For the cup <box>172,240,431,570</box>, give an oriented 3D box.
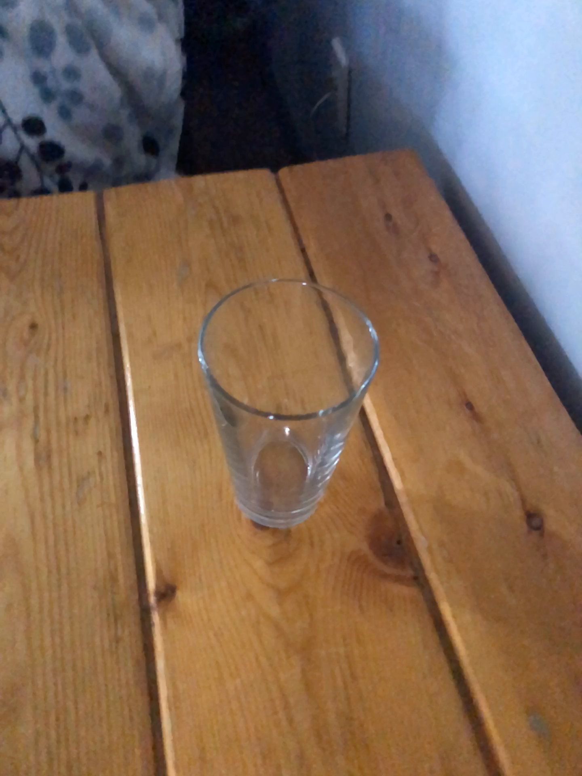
[{"bbox_3d":[0.002,0.016,0.355,0.090,0.150,0.090,0,54,0],"label":"cup"}]
